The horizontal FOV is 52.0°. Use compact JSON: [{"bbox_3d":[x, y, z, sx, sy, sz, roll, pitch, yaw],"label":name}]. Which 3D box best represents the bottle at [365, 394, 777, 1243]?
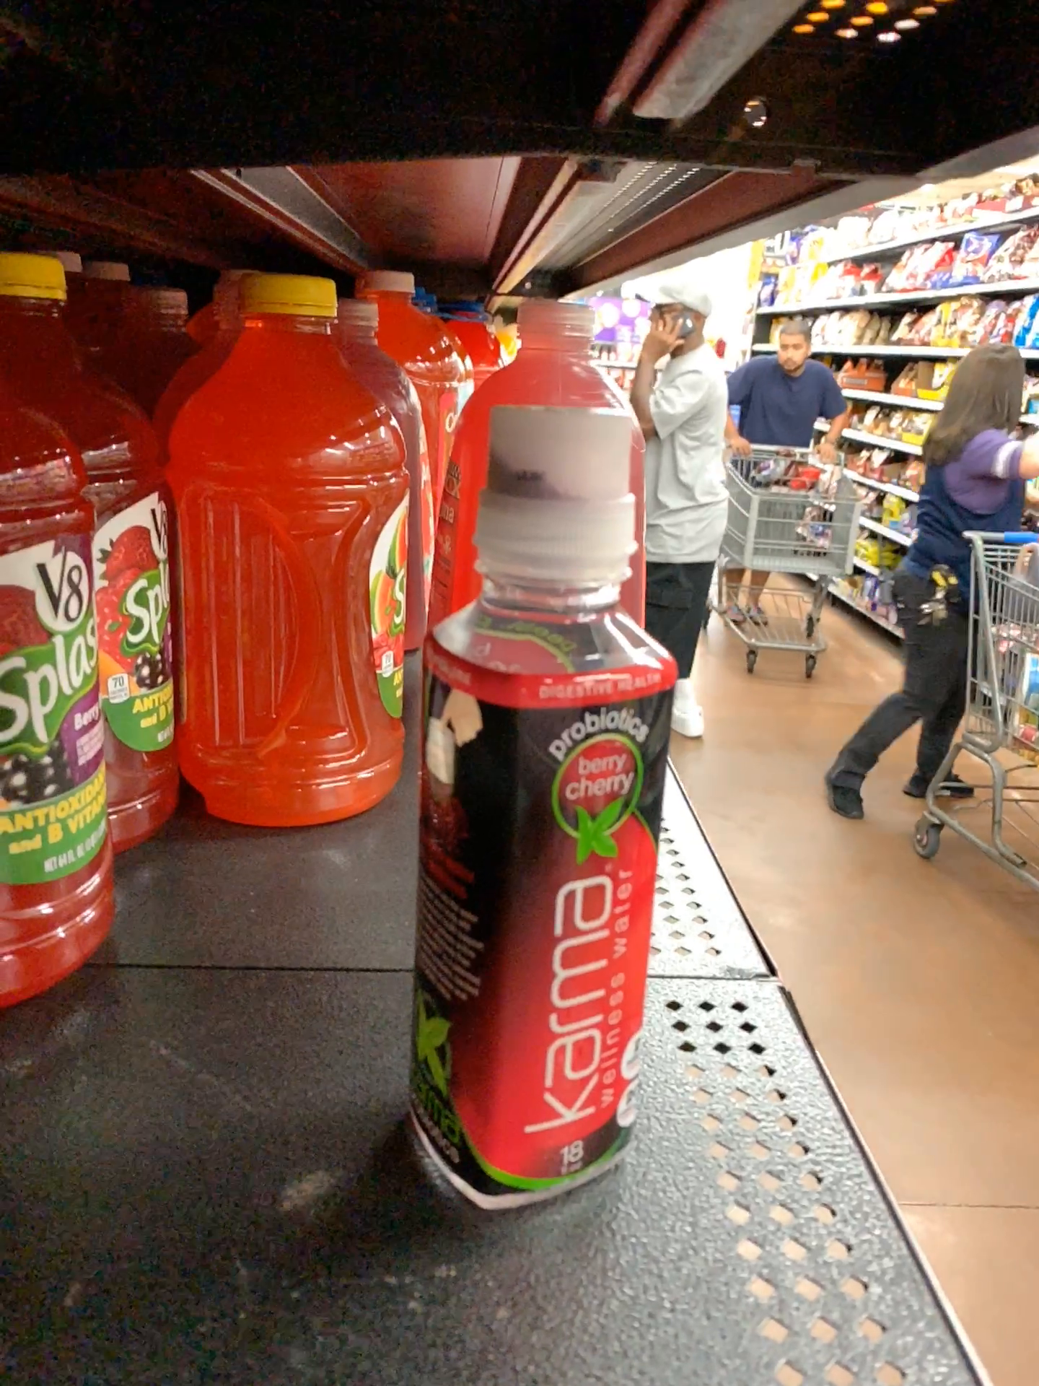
[{"bbox_3d":[0.006,0.030,0.292,0.069,0.209,0.070,4,17,-1],"label":"bottle"}]
